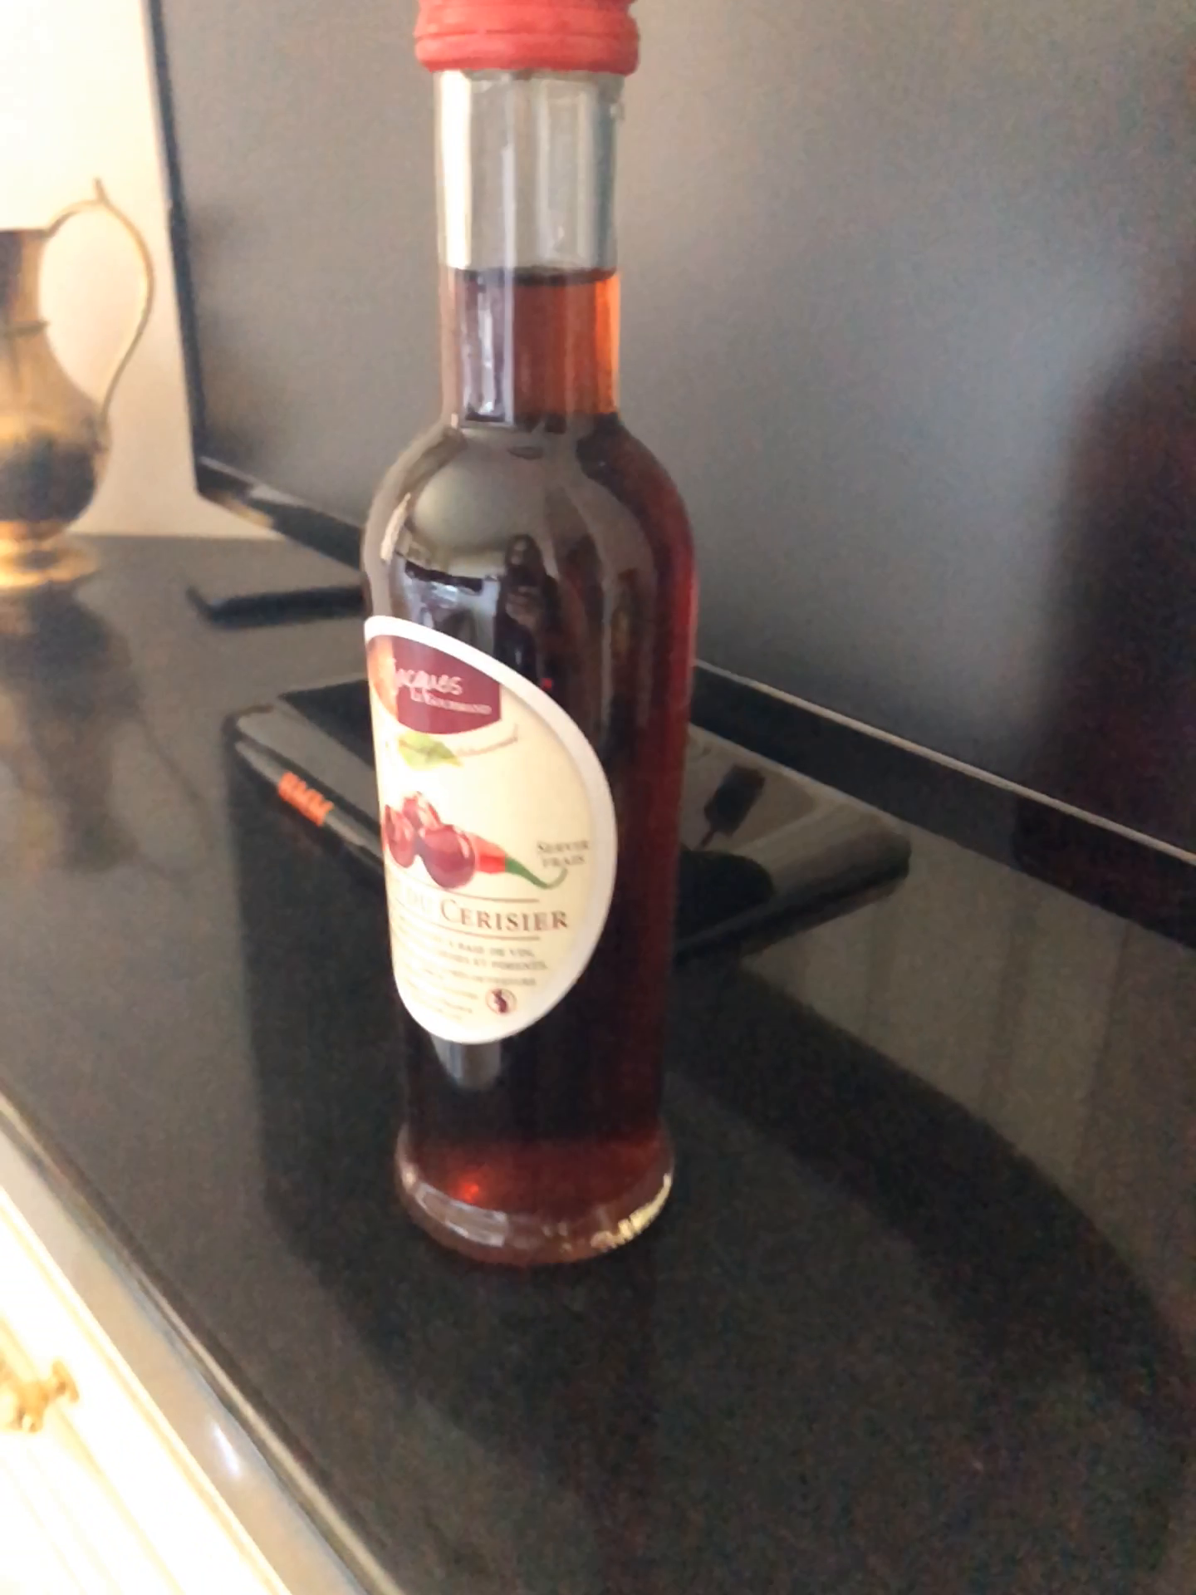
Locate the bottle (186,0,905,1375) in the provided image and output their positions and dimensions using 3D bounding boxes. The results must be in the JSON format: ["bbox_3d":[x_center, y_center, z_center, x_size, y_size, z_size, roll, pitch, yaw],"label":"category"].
[{"bbox_3d":[-0.007,-0.022,0.228,0.070,0.219,0.070,0,24,0],"label":"bottle"}]
